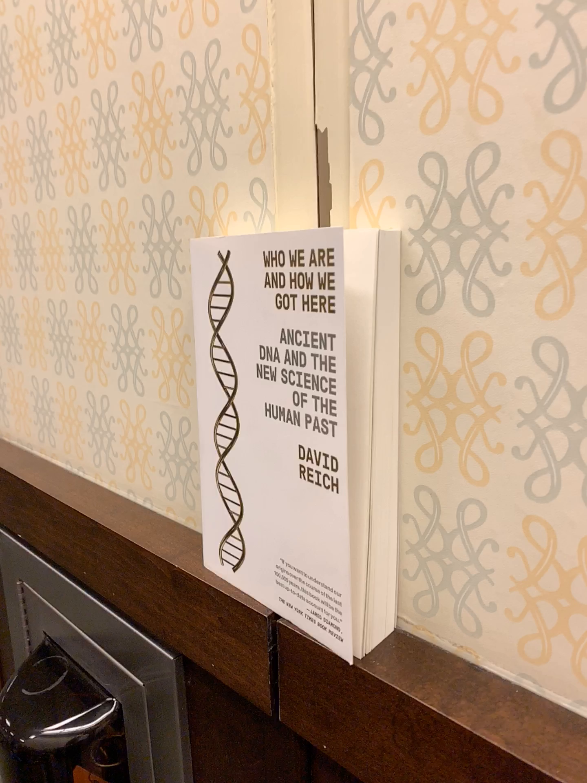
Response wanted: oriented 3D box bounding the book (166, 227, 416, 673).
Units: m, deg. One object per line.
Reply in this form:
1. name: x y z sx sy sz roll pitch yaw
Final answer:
1. book: -0.005 0.021 0.316 0.127 0.199 0.041 9 15 40
